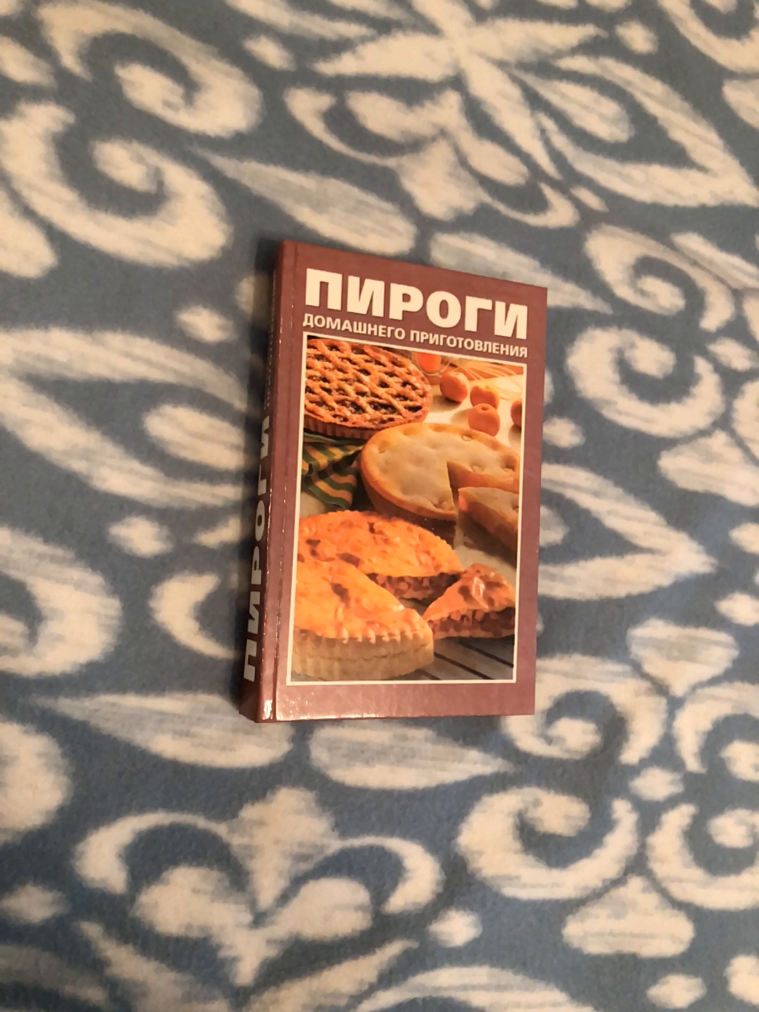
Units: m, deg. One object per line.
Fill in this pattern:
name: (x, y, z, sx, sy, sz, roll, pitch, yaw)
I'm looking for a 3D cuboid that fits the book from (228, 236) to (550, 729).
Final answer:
book: (0.007, -0.006, 0.381, 0.131, 0.040, 0.201, 5, 85, -21)
